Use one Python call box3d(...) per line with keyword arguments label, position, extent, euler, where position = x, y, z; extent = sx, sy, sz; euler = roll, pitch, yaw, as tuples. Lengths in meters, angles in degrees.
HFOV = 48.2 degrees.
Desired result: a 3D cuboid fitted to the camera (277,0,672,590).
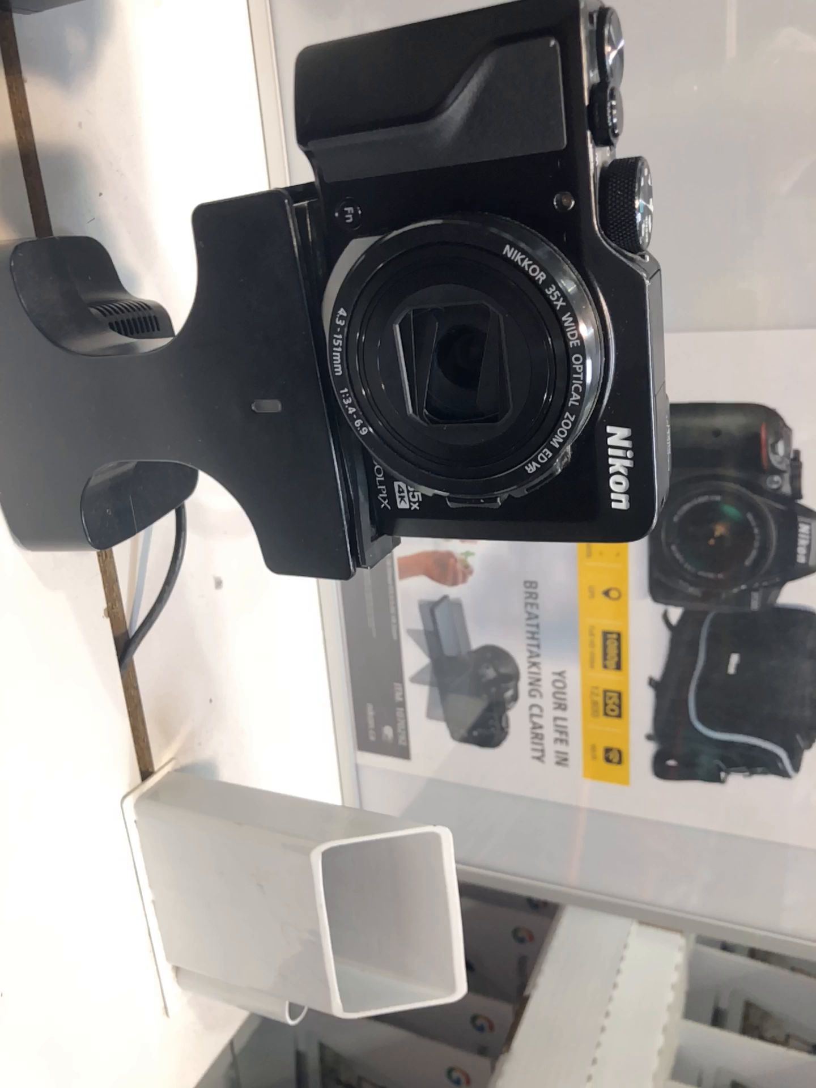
box3d(label="camera", position=(0.022, -0.053, 0.206), extent=(0.044, 0.069, 0.117), euler=(-58, 145, -56))
